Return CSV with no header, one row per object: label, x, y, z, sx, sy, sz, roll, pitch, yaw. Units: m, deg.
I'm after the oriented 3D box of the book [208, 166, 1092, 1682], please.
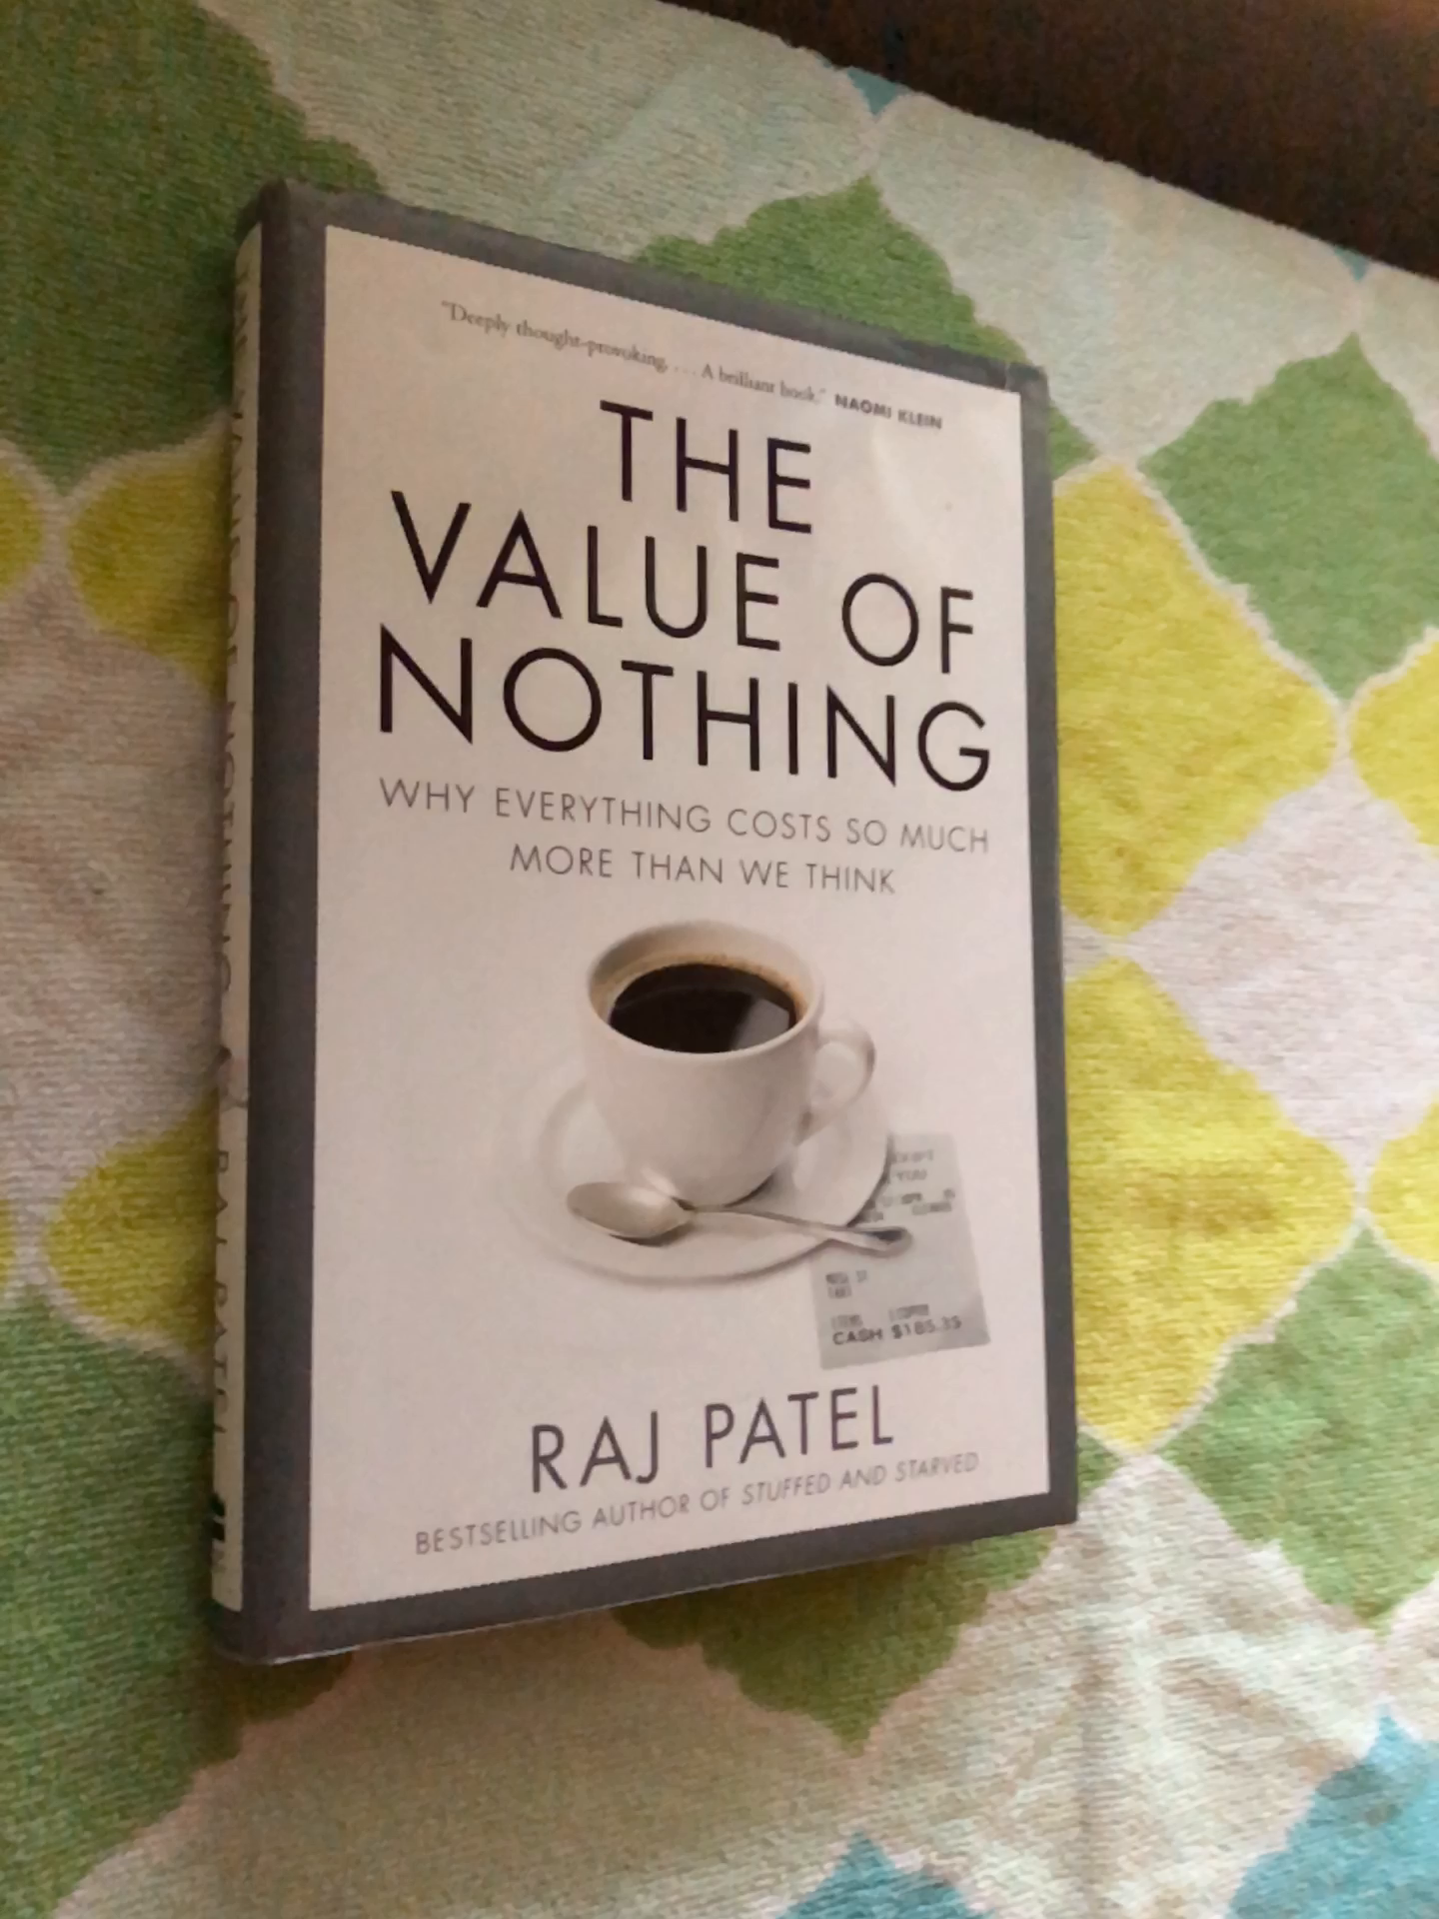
book,-0.007,-0.006,0.261,0.140,0.030,0.206,2,84,-28
